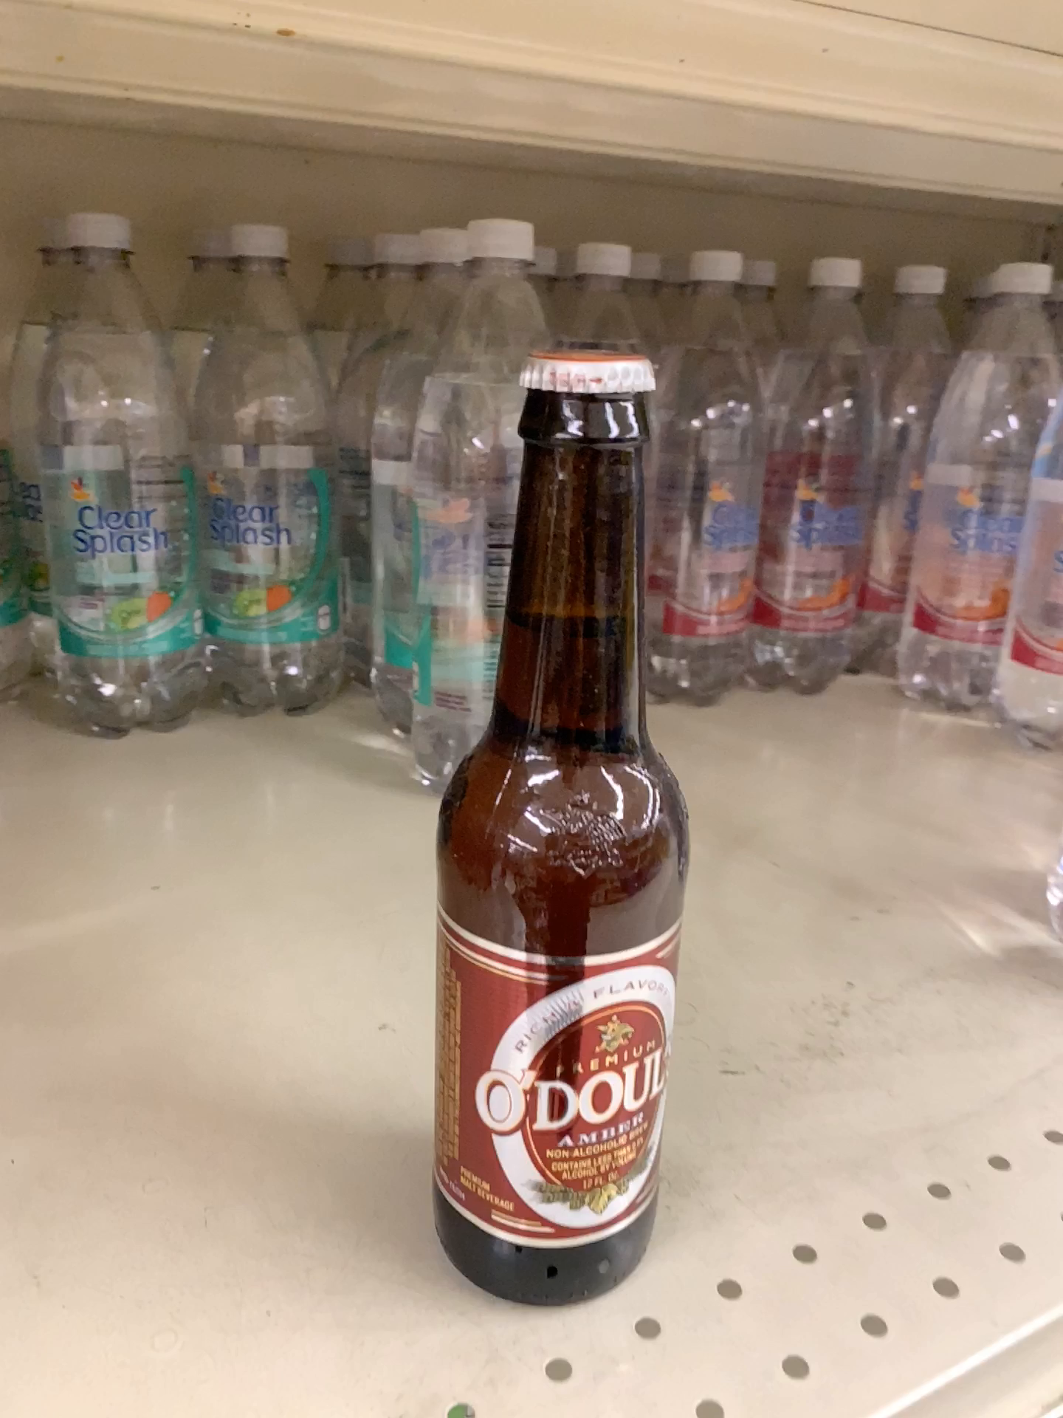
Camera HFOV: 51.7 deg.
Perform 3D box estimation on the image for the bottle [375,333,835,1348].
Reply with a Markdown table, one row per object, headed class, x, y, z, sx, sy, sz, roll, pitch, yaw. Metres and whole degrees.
| class | x | y | z | sx | sy | sz | roll | pitch | yaw |
| --- | --- | --- | --- | --- | --- | --- | --- | --- | --- |
| bottle | 0.006 | 0.030 | 0.258 | 0.070 | 0.219 | 0.070 | 2 | 20 | -1 |
